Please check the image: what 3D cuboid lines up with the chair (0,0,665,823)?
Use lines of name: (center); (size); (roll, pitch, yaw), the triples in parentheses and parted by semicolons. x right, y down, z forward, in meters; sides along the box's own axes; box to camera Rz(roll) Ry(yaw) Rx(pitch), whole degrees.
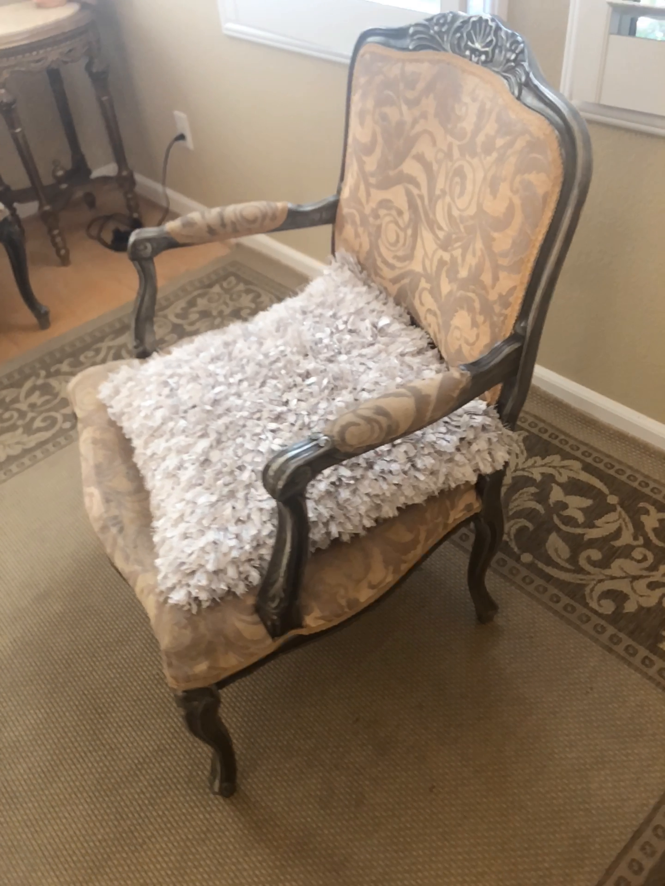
chair: (-0.123, -0.115, 1.143); (0.652, 0.972, 0.764); (-21, 44, -15)
